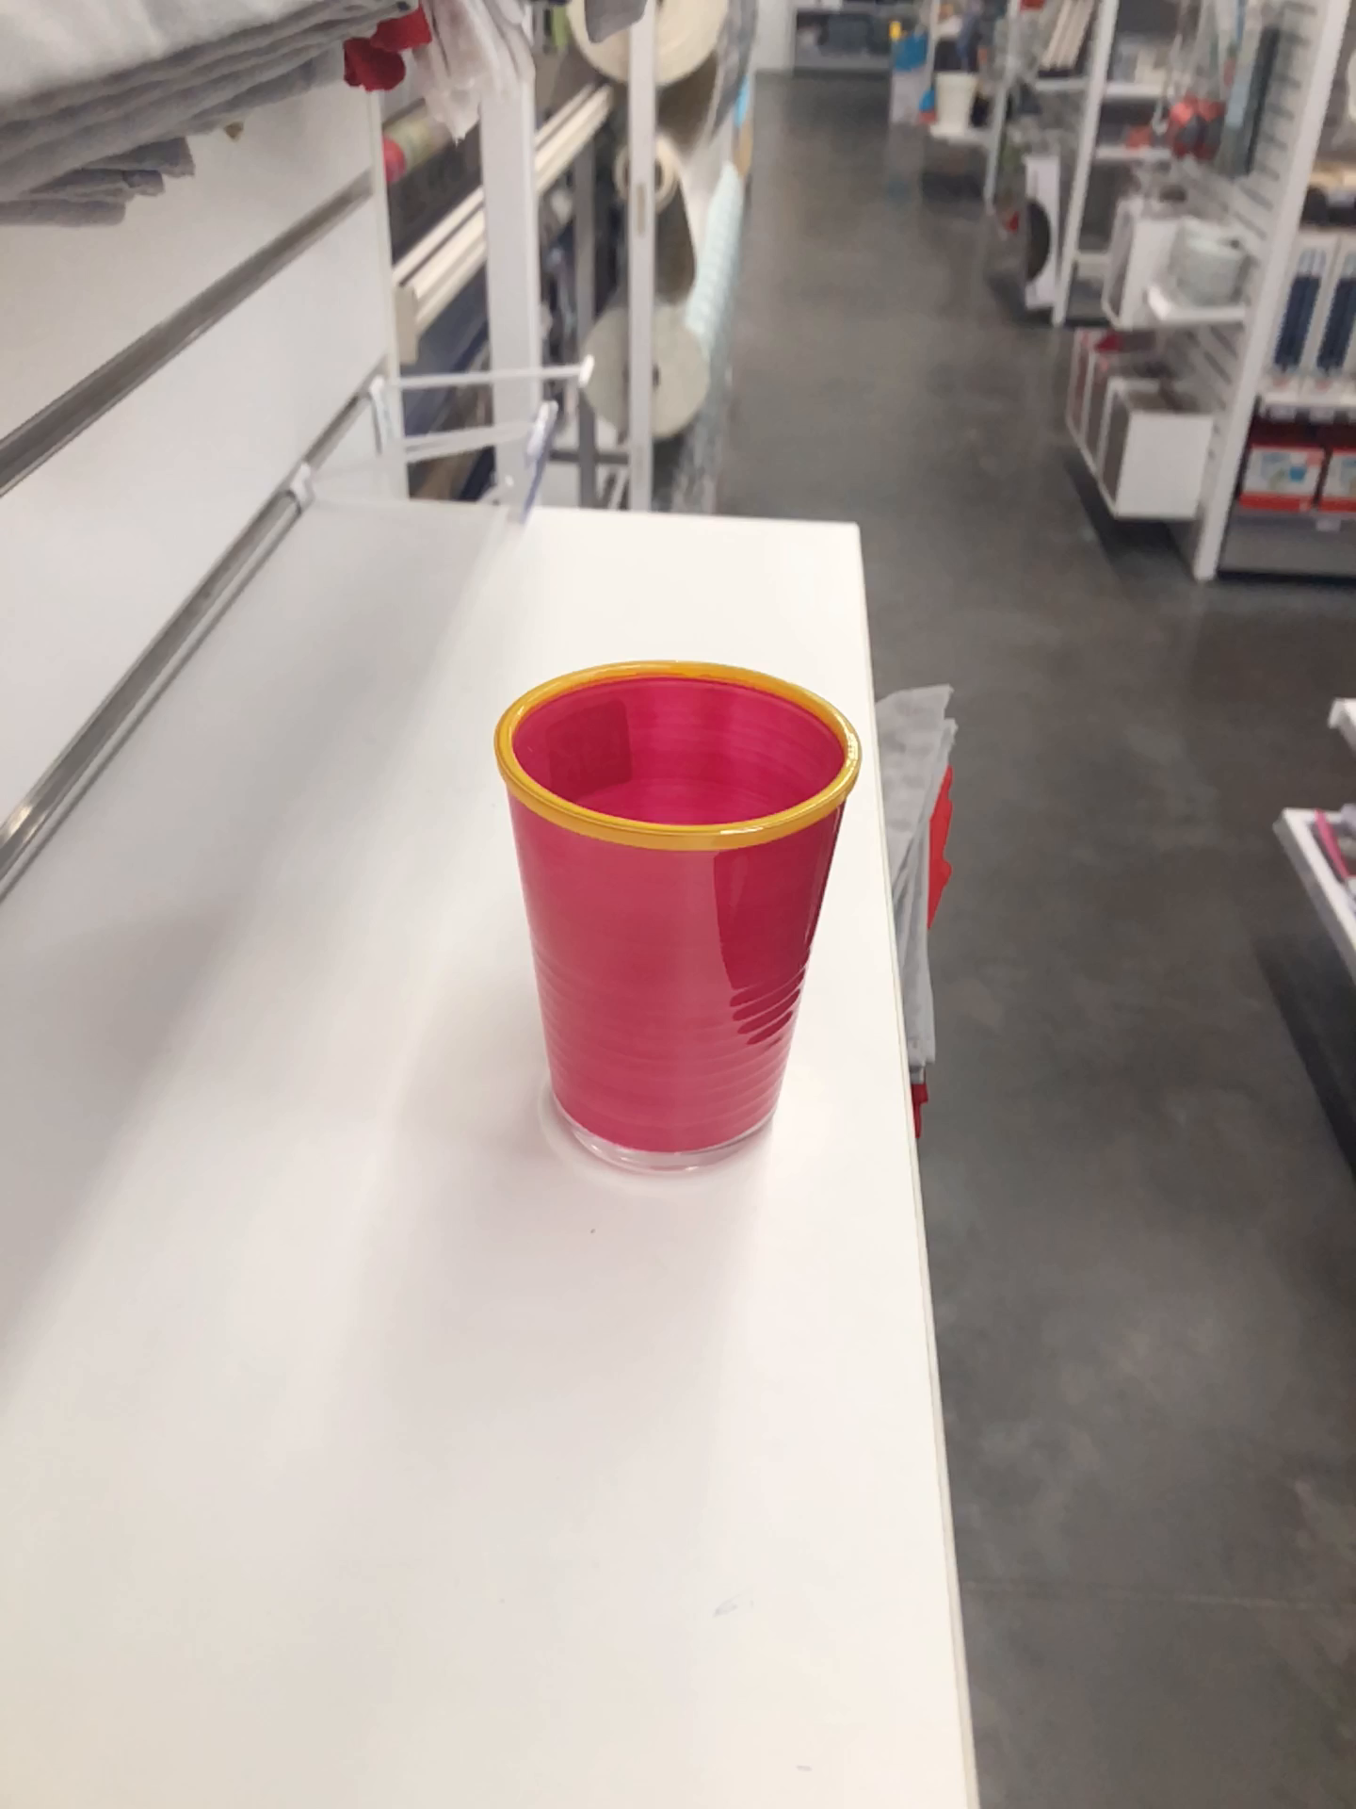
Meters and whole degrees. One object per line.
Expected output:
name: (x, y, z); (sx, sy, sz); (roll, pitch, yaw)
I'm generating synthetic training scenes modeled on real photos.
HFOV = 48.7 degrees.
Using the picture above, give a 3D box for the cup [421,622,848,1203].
cup: (-0.006, 0.000, 0.343); (0.079, 0.093, 0.085); (2, 34, -1)
